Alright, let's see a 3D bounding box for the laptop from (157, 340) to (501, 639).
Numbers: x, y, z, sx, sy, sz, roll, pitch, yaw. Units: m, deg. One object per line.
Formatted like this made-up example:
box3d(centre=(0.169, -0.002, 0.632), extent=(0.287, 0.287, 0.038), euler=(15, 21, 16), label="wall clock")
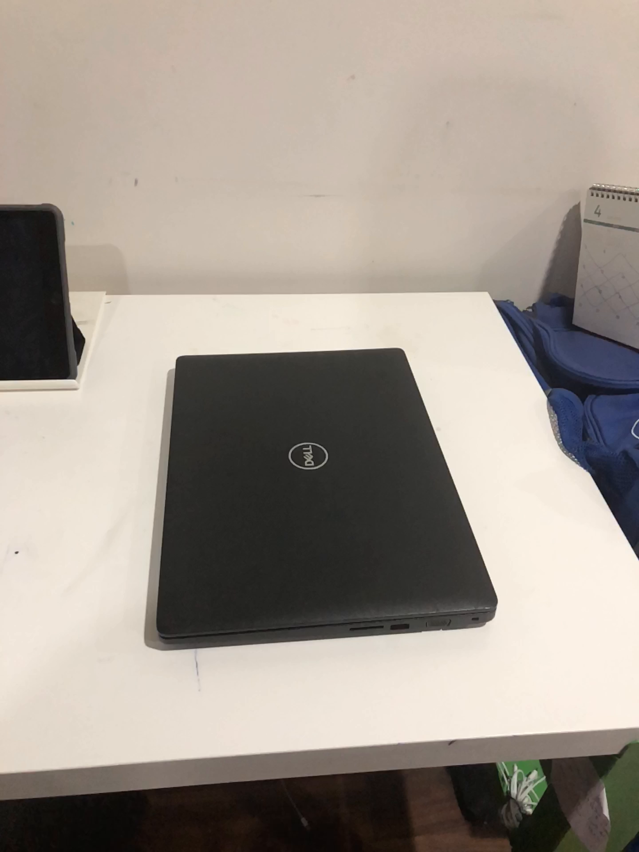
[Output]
box3d(centre=(-0.010, 0.028, 0.618), extent=(0.241, 0.010, 0.334), euler=(-4, 41, -4), label="laptop")
